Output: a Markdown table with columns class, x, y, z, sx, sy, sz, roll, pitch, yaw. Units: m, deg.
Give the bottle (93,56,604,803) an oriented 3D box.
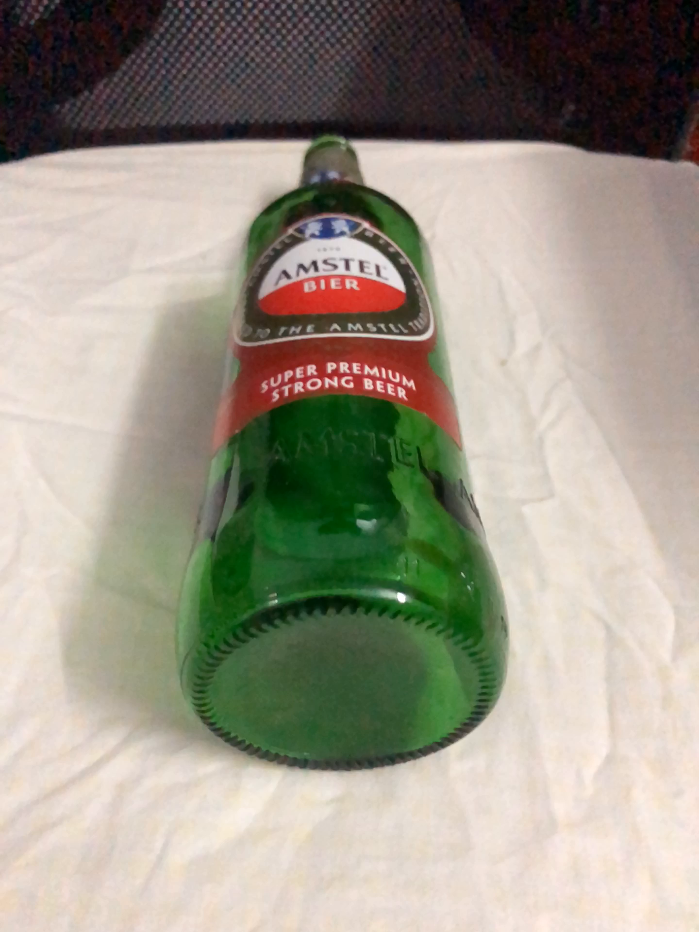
| class | x | y | z | sx | sy | sz | roll | pitch | yaw |
| --- | --- | --- | --- | --- | --- | --- | --- | --- | --- |
| bottle | -0.004 | -0.067 | 0.302 | 0.090 | 0.080 | 0.362 | 0 | 40 | -2 |
